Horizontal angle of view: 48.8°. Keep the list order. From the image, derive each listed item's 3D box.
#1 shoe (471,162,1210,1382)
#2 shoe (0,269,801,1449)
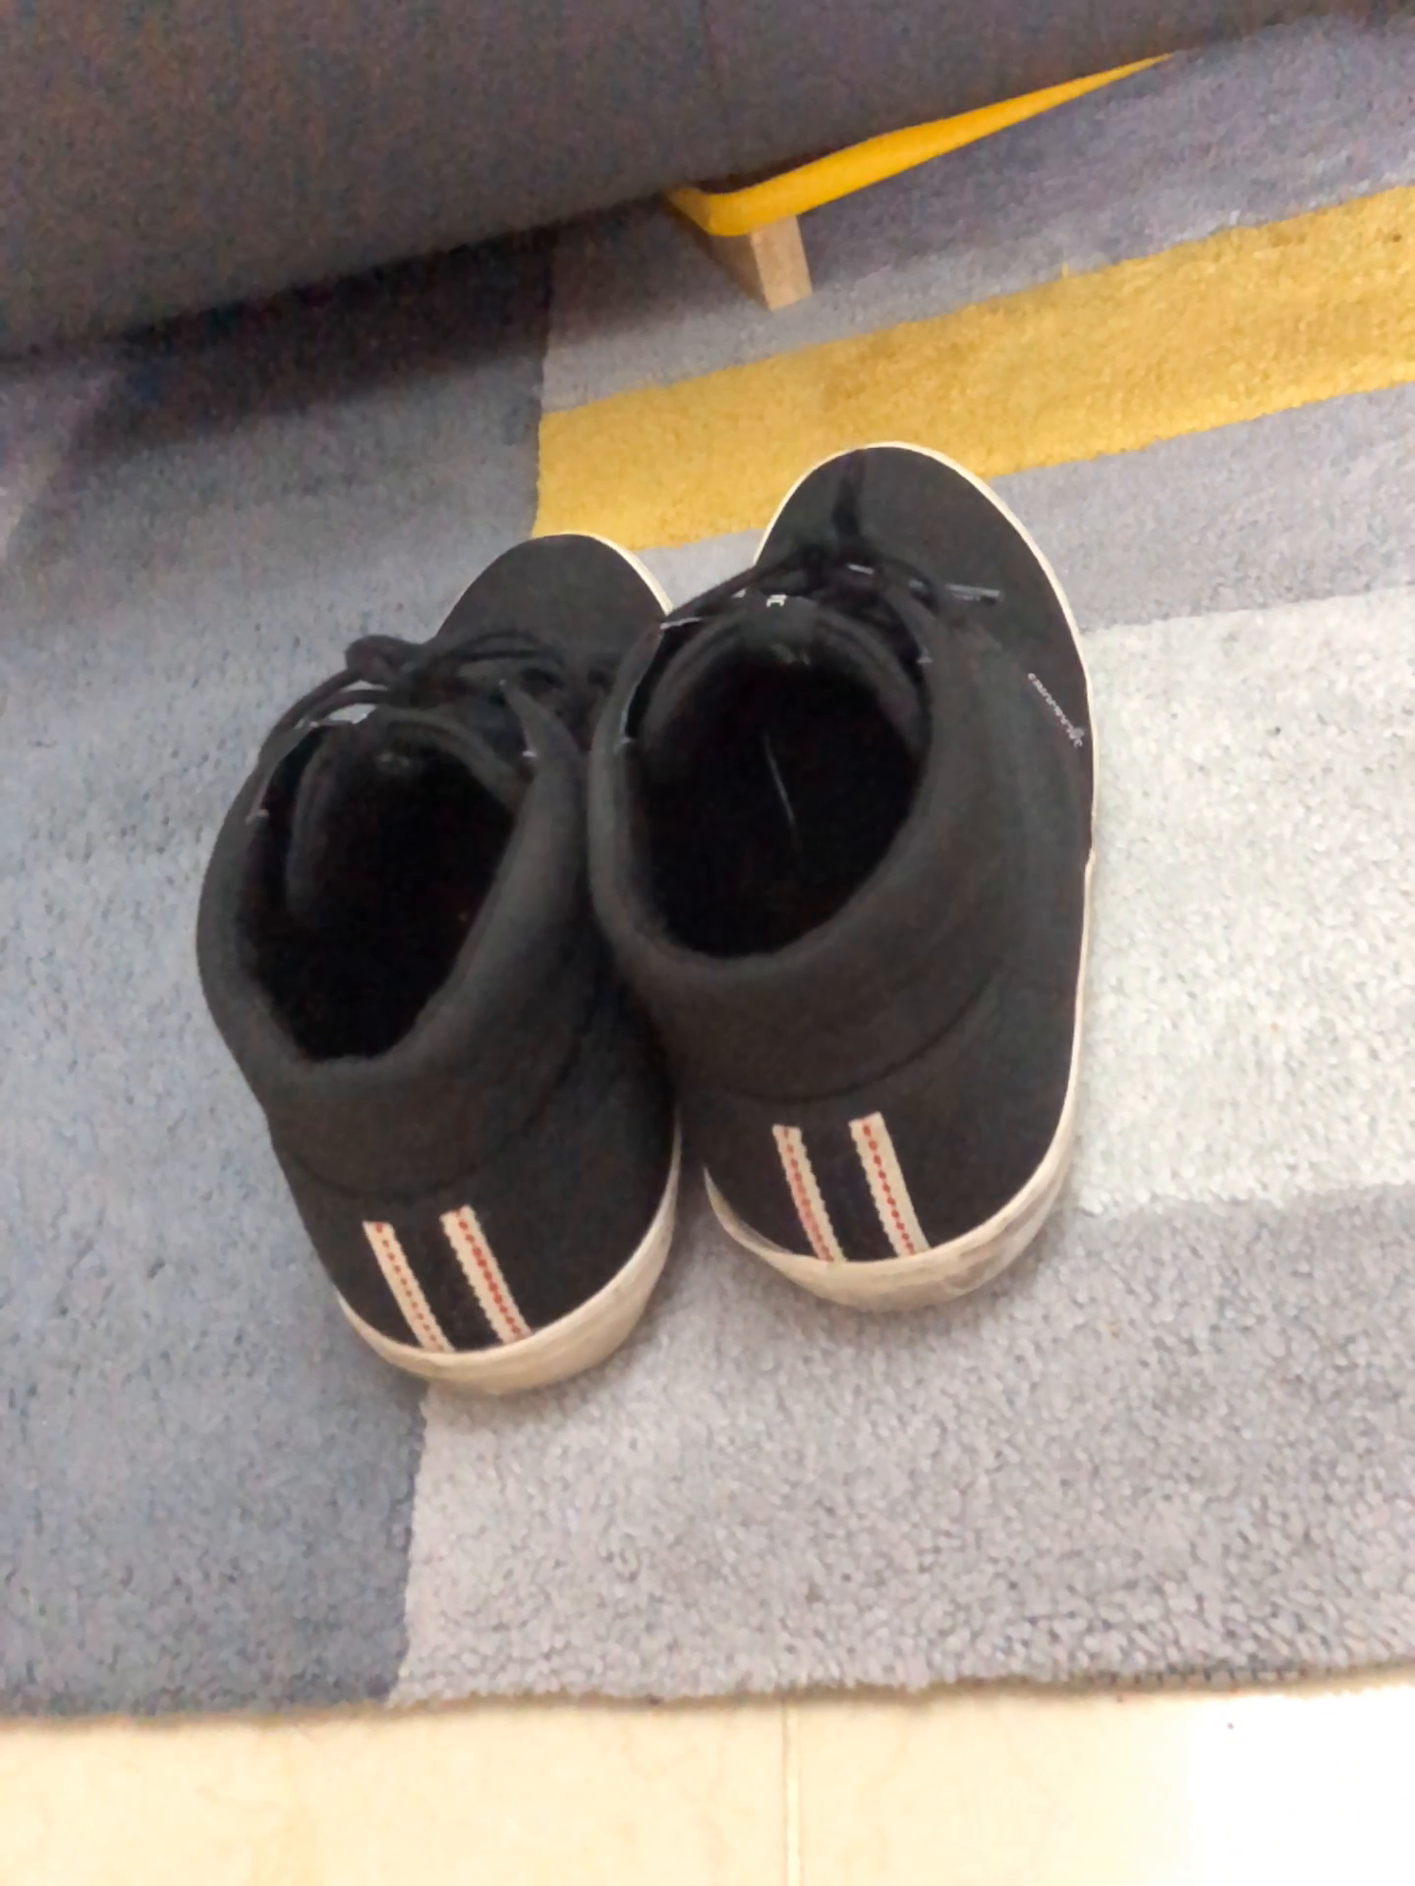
[{"bbox_3d":[0.041,-0.057,0.379,0.110,0.129,0.282,-7,45,13],"label":"shoe"},{"bbox_3d":[-0.052,-0.041,0.382,0.110,0.109,0.282,-12,44,9],"label":"shoe"}]
